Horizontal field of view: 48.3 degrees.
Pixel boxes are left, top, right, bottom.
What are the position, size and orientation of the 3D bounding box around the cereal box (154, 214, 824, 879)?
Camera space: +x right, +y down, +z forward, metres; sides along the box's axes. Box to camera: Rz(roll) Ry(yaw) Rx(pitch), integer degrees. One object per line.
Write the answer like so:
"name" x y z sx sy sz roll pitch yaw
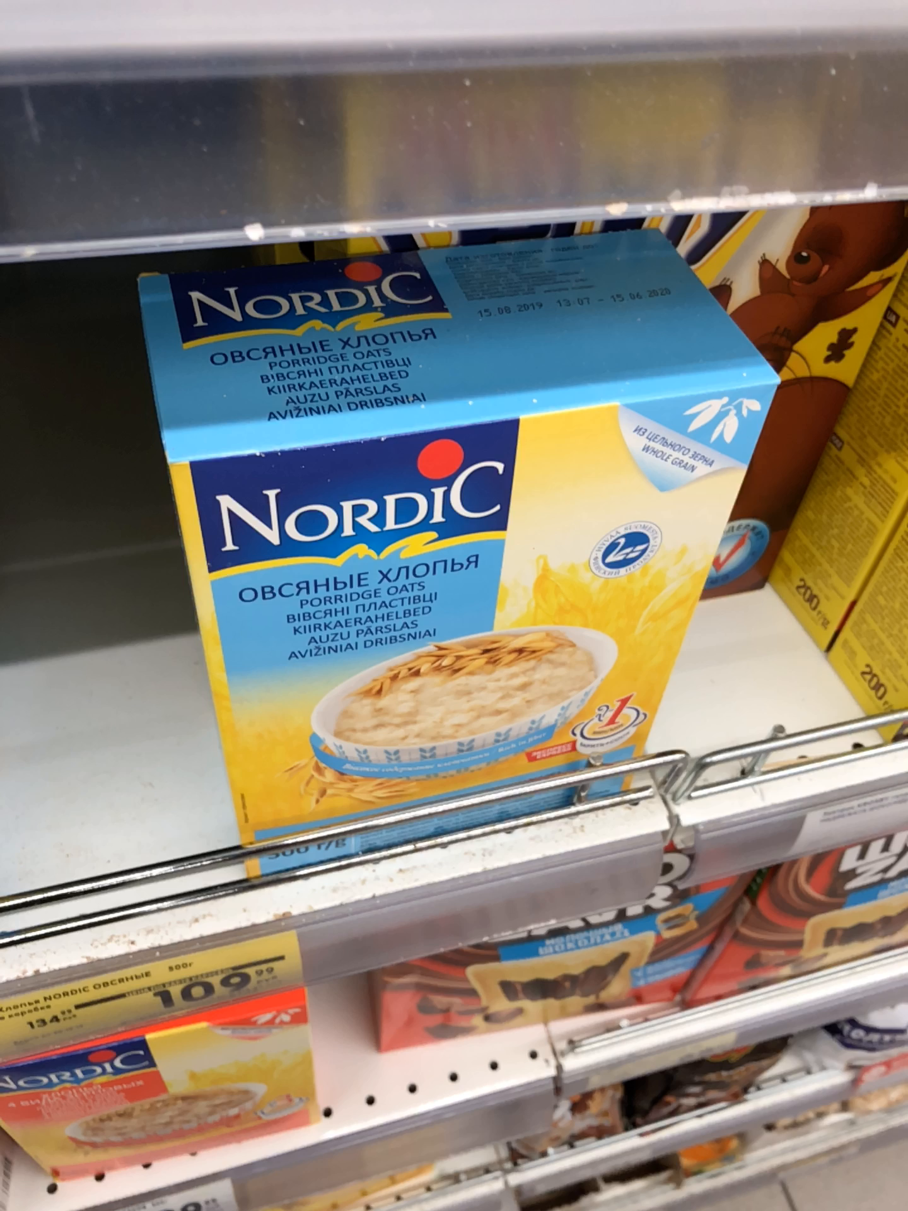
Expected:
"cereal box" 0.001 -0.007 0.322 0.150 0.199 0.070 -10 51 -13
